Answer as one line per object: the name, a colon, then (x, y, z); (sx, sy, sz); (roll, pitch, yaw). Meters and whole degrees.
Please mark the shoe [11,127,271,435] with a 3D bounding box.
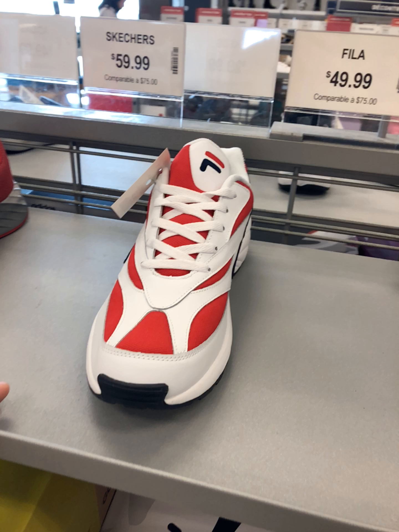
shoe: (-0.019, -0.020, 0.383); (0.120, 0.129, 0.272); (9, 31, 10)
